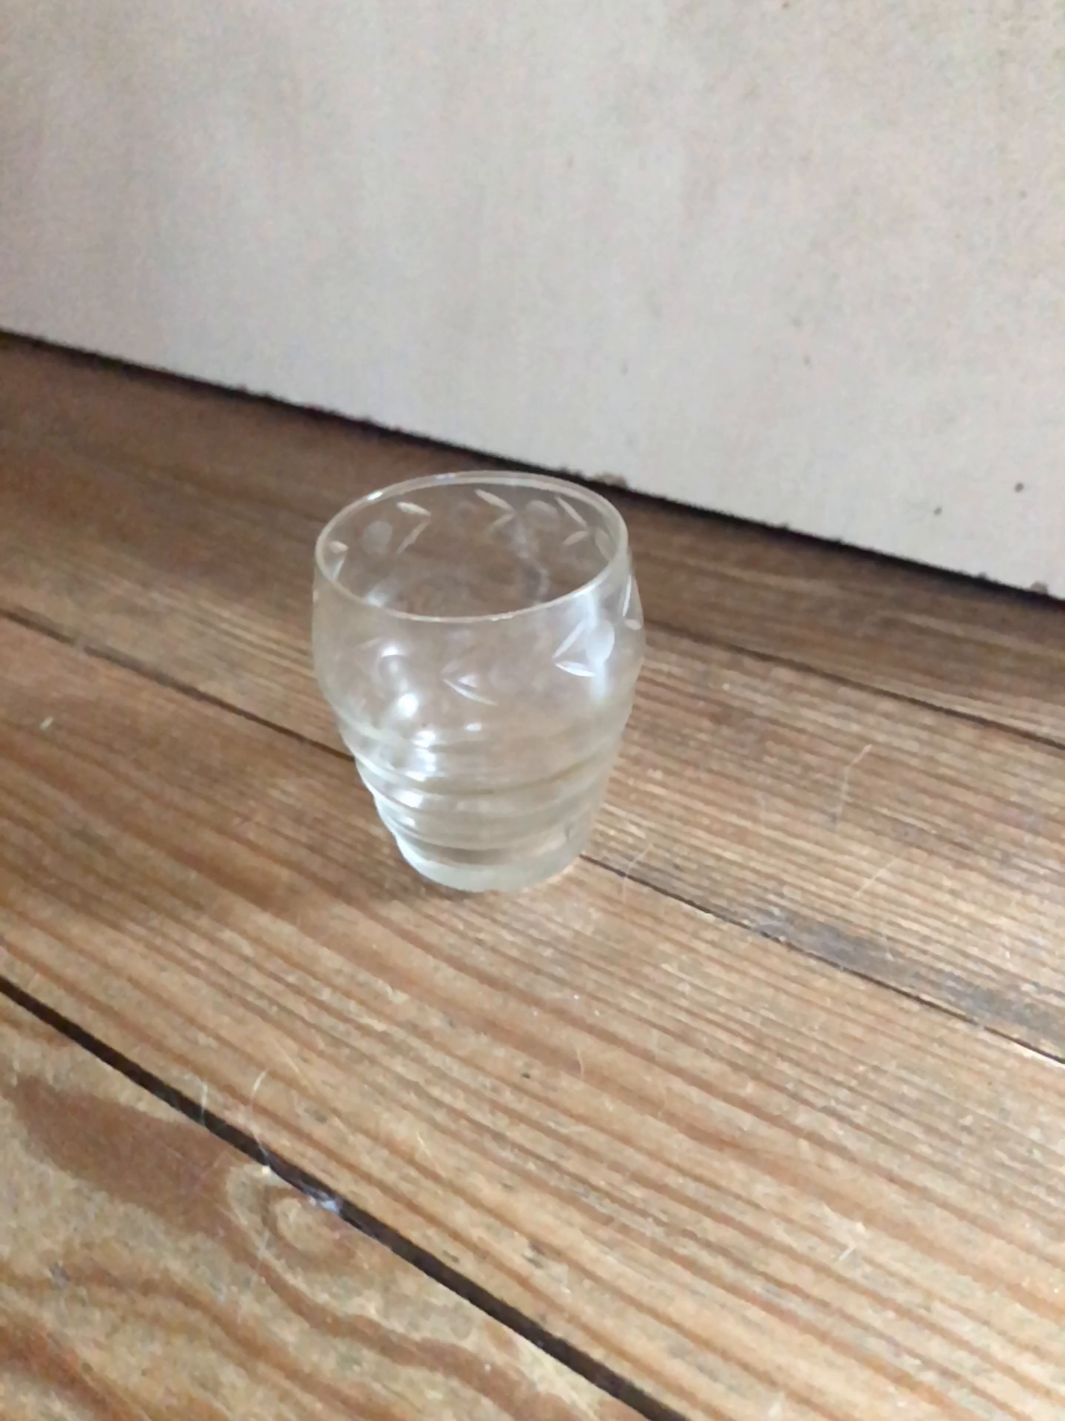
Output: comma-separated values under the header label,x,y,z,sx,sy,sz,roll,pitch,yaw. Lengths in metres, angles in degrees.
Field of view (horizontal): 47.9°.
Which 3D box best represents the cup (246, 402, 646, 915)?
label,x,y,z,sx,sy,sz,roll,pitch,yaw
cup,-0.011,-0.009,0.188,0.050,0.060,0.050,-1,37,1
